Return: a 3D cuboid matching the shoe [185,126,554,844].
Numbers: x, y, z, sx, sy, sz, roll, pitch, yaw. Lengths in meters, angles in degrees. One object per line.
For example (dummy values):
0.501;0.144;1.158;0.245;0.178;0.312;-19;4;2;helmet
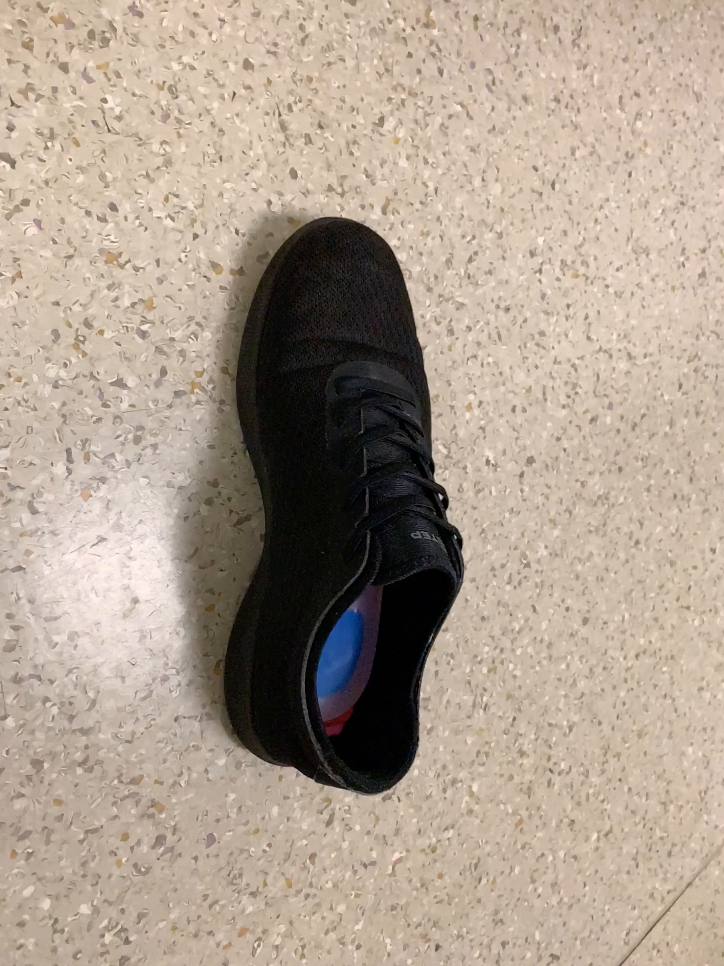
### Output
0.003;0.002;0.358;0.105;0.099;0.279;9;87;-36;shoe
